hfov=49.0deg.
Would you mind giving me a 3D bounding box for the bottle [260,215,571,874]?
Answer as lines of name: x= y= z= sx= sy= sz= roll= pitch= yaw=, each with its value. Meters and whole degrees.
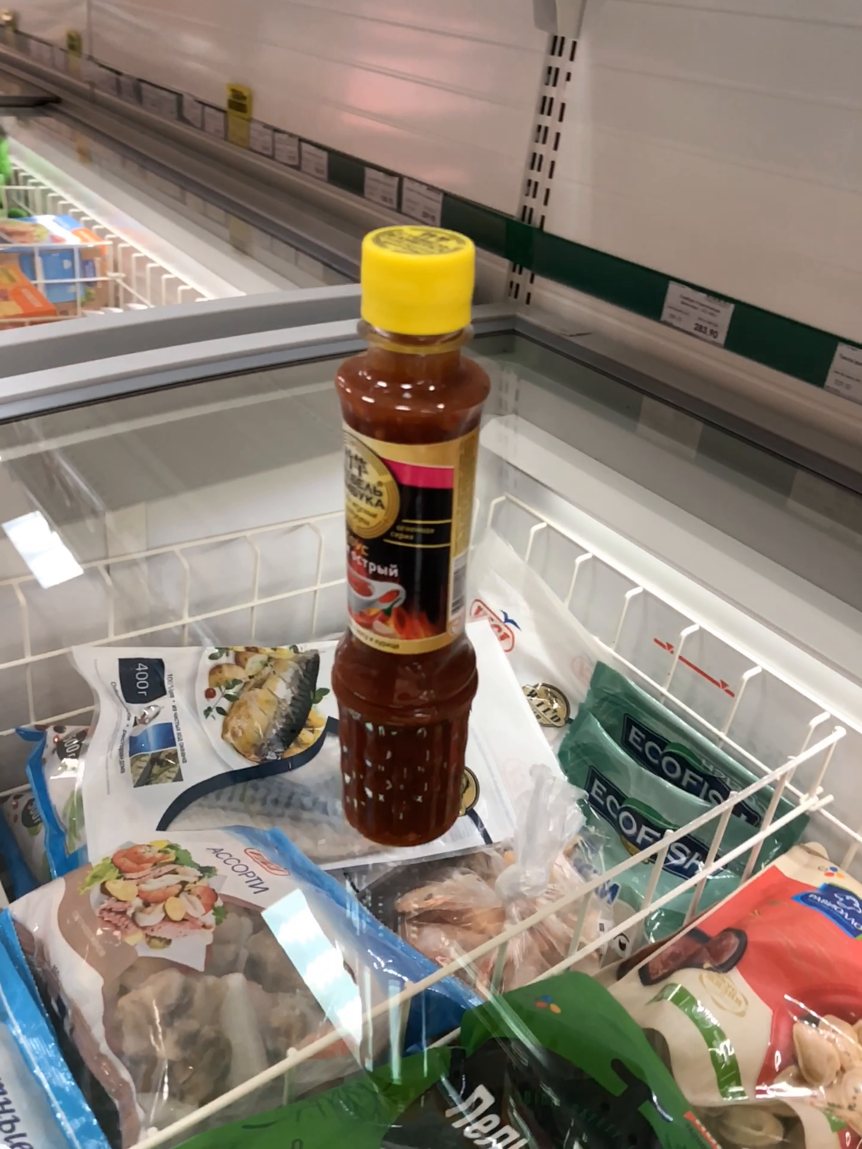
bottle: x=-0.012 y=-0.004 z=0.306 sx=0.060 sy=0.199 sz=0.060 roll=3 pitch=32 yaw=-2
